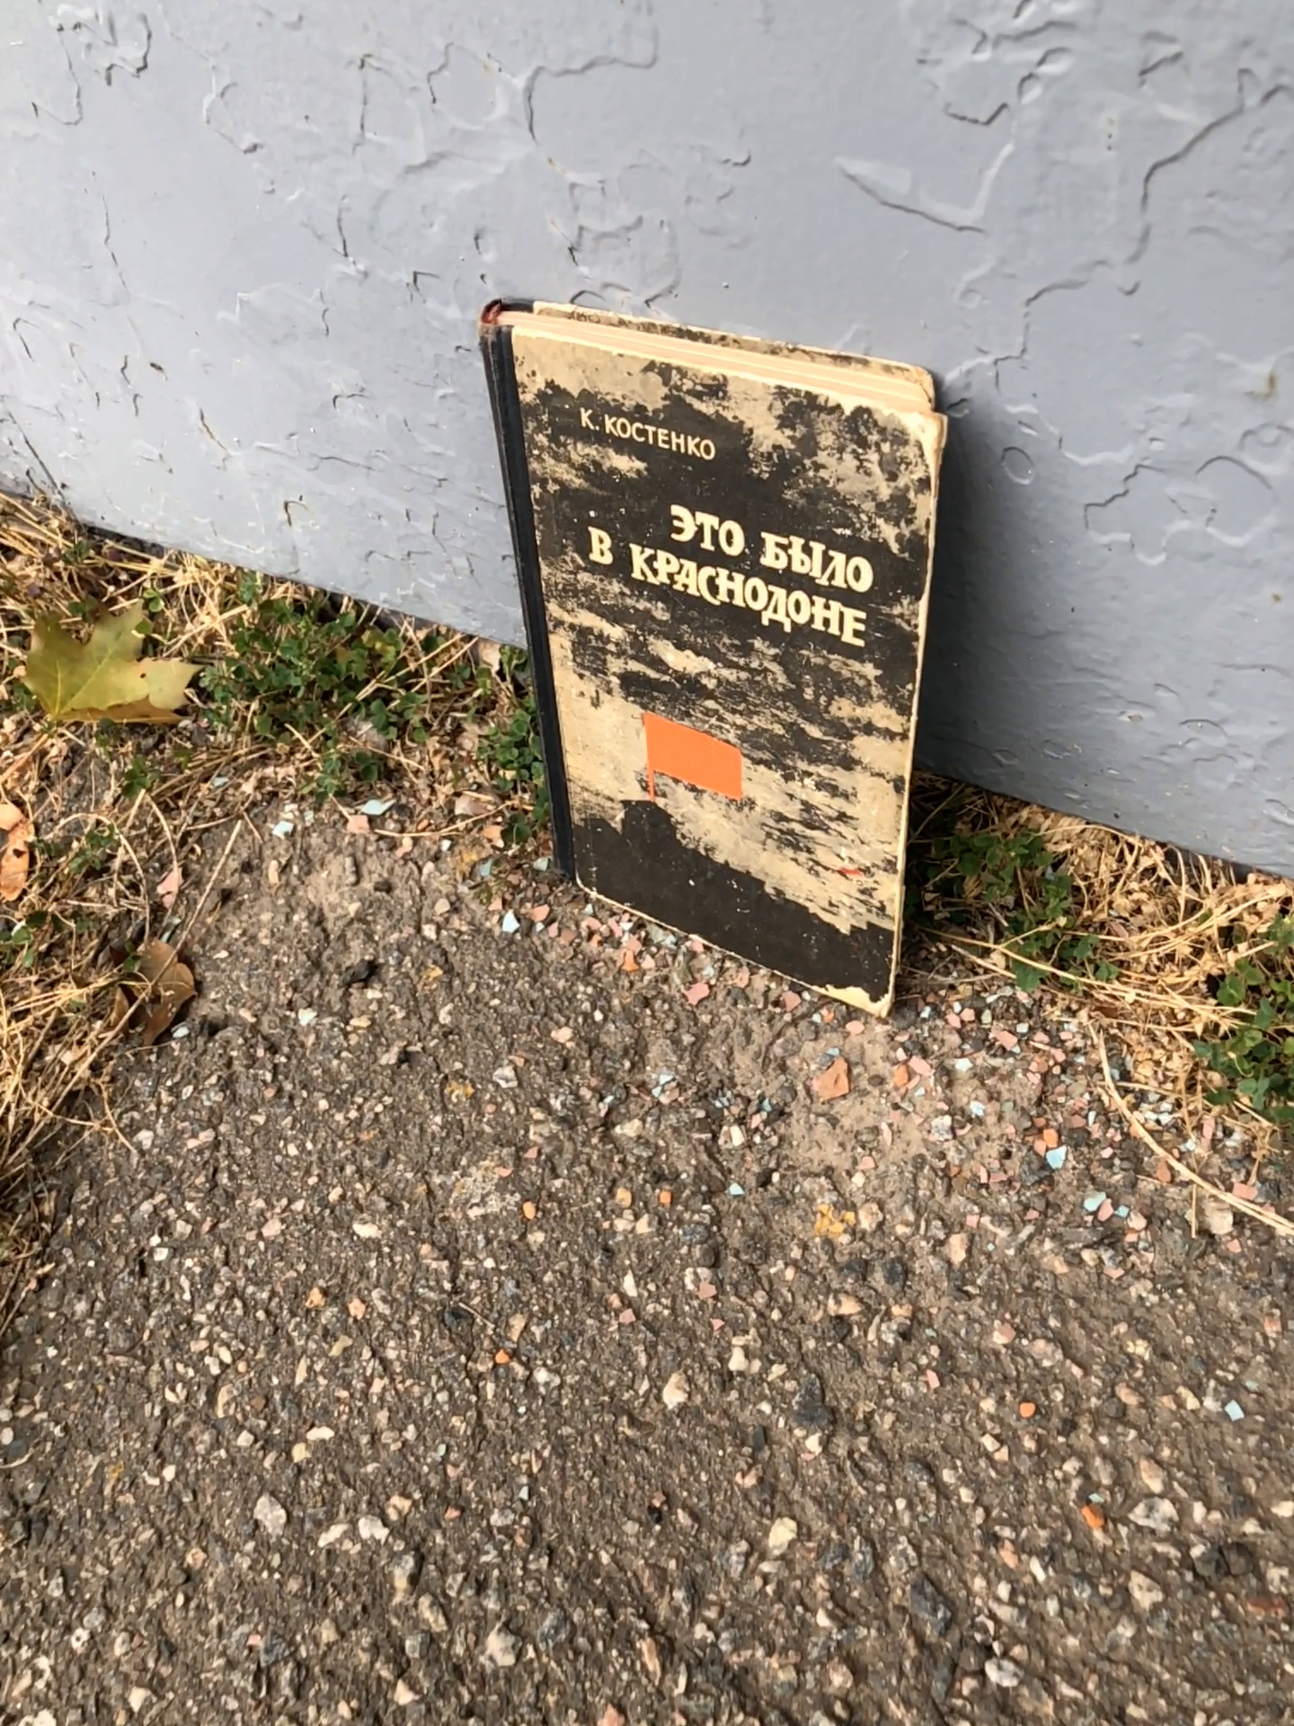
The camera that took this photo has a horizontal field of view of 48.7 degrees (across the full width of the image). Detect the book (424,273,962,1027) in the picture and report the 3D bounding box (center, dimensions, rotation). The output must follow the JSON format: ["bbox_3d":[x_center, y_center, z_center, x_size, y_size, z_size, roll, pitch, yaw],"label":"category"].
[{"bbox_3d":[0.014,-0.057,0.418,0.140,0.199,0.030,22,47,28],"label":"book"}]
